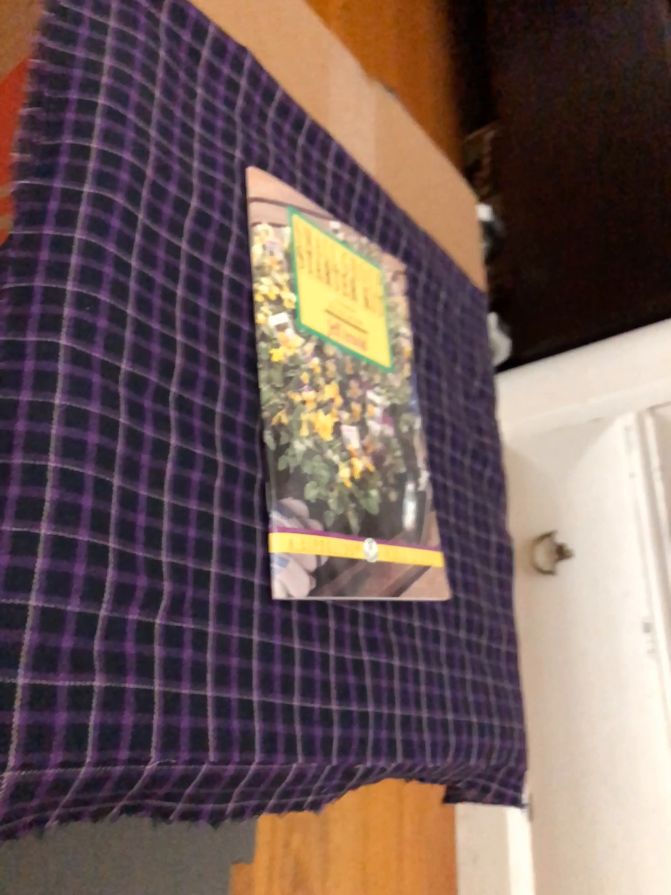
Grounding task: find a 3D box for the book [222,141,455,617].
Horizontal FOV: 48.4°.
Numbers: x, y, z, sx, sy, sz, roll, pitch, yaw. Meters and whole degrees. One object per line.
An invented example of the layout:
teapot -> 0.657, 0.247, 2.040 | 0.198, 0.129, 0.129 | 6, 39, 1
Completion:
book -> 0.005, -0.027, 0.384 | 0.151, 0.010, 0.220 | 15, 64, -50
